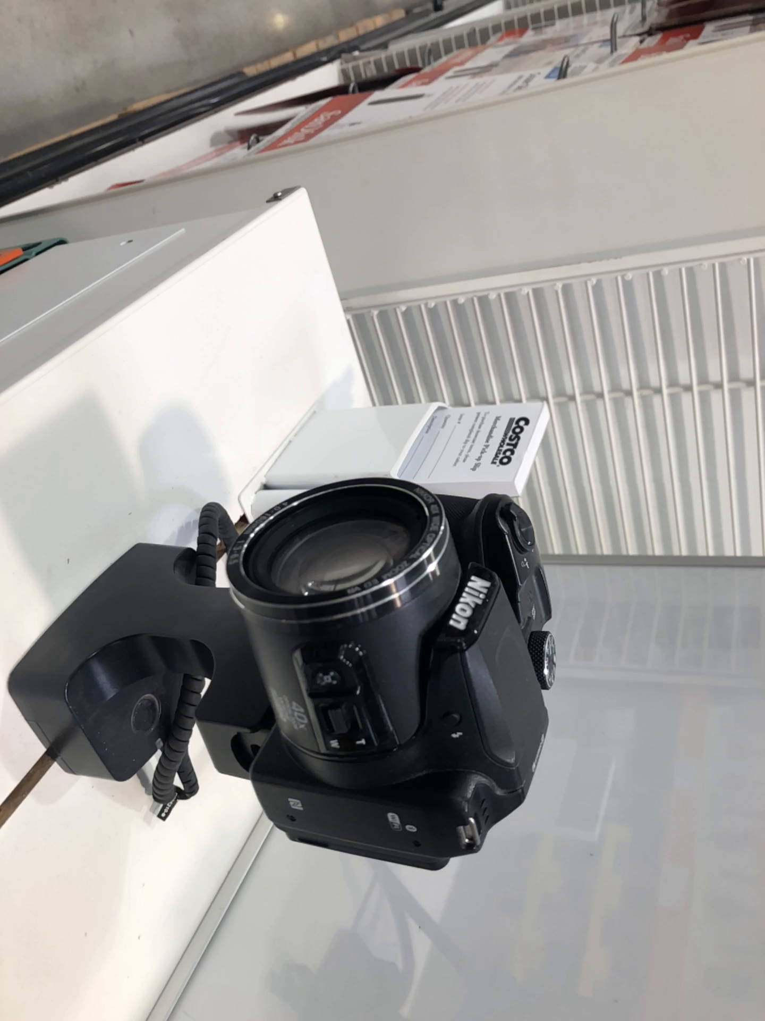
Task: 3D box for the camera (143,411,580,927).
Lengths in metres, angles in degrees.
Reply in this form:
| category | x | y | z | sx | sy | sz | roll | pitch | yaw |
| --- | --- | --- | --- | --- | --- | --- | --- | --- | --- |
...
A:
| category | x | y | z | sx | sy | sz | roll | pitch | yaw |
| --- | --- | --- | --- | --- | --- | --- | --- | --- | --- |
| camera | 0.007 | 0.044 | 0.273 | 0.116 | 0.079 | 0.101 | -61 | 142 | -46 |
